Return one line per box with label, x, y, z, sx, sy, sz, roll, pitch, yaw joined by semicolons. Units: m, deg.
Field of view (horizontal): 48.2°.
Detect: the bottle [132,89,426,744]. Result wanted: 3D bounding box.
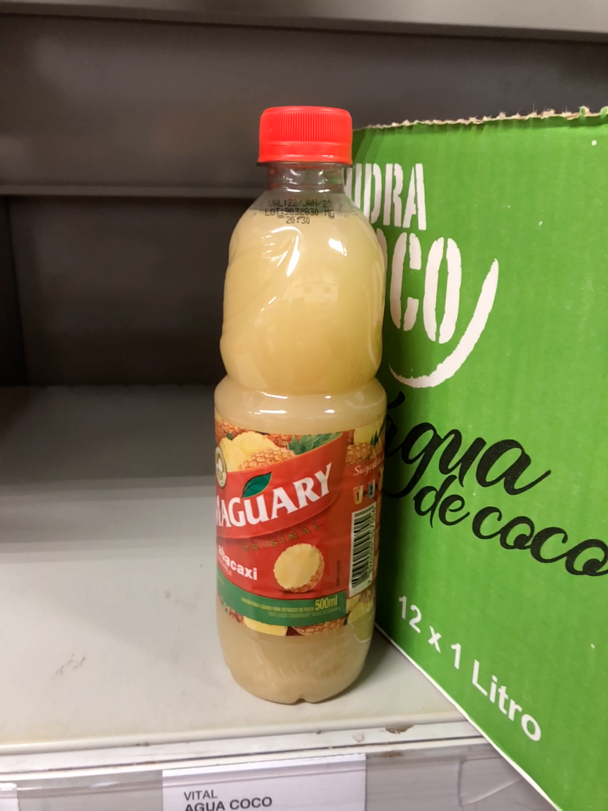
bottle;-0.008;0.004;0.246;0.070;0.209;0.060;13;23;33
